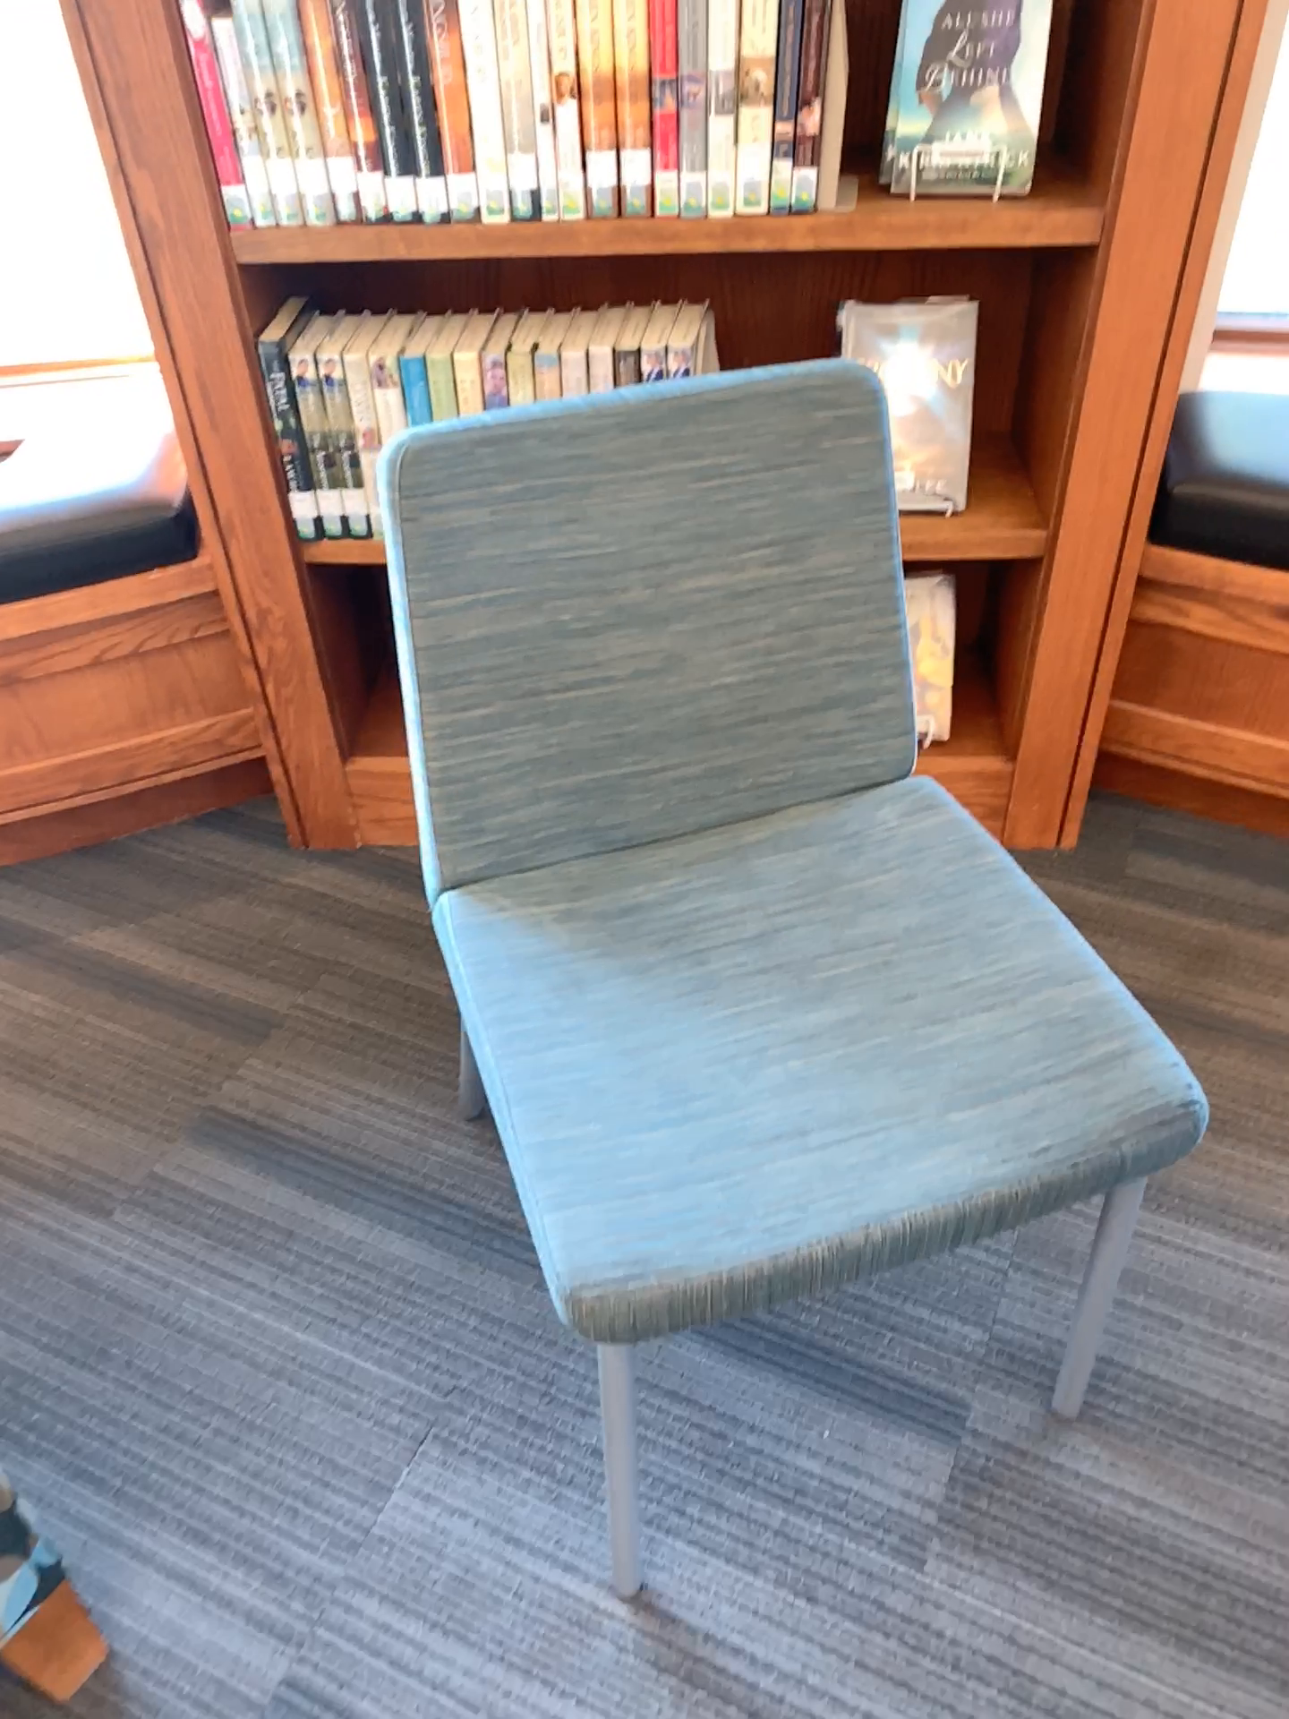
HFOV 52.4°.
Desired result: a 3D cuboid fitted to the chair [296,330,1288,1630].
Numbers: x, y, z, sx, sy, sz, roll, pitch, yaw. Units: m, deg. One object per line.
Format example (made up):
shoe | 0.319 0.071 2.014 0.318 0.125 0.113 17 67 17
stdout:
chair | 0.100 0.090 1.097 0.550 0.786 0.593 -13 41 -12
